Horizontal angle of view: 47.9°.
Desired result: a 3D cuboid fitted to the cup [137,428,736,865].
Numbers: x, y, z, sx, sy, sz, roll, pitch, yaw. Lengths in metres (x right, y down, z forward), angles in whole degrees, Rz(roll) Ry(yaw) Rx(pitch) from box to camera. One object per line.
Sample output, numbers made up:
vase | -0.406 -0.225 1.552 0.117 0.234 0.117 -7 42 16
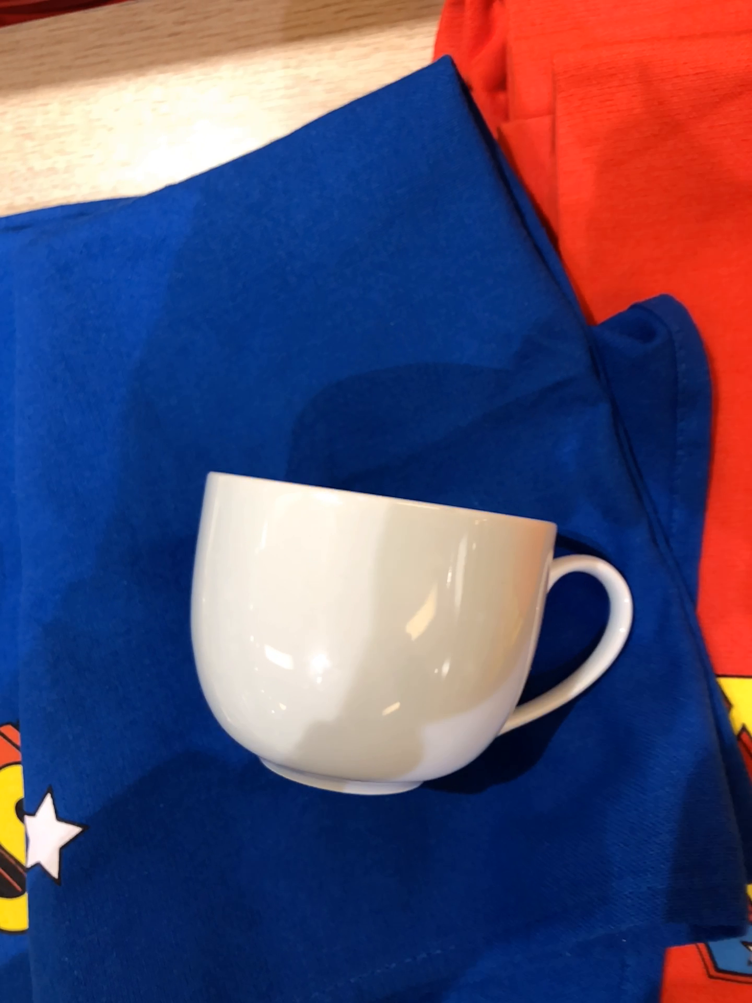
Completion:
cup | 0.011 0.035 0.233 0.130 0.080 0.090 8 92 -21
